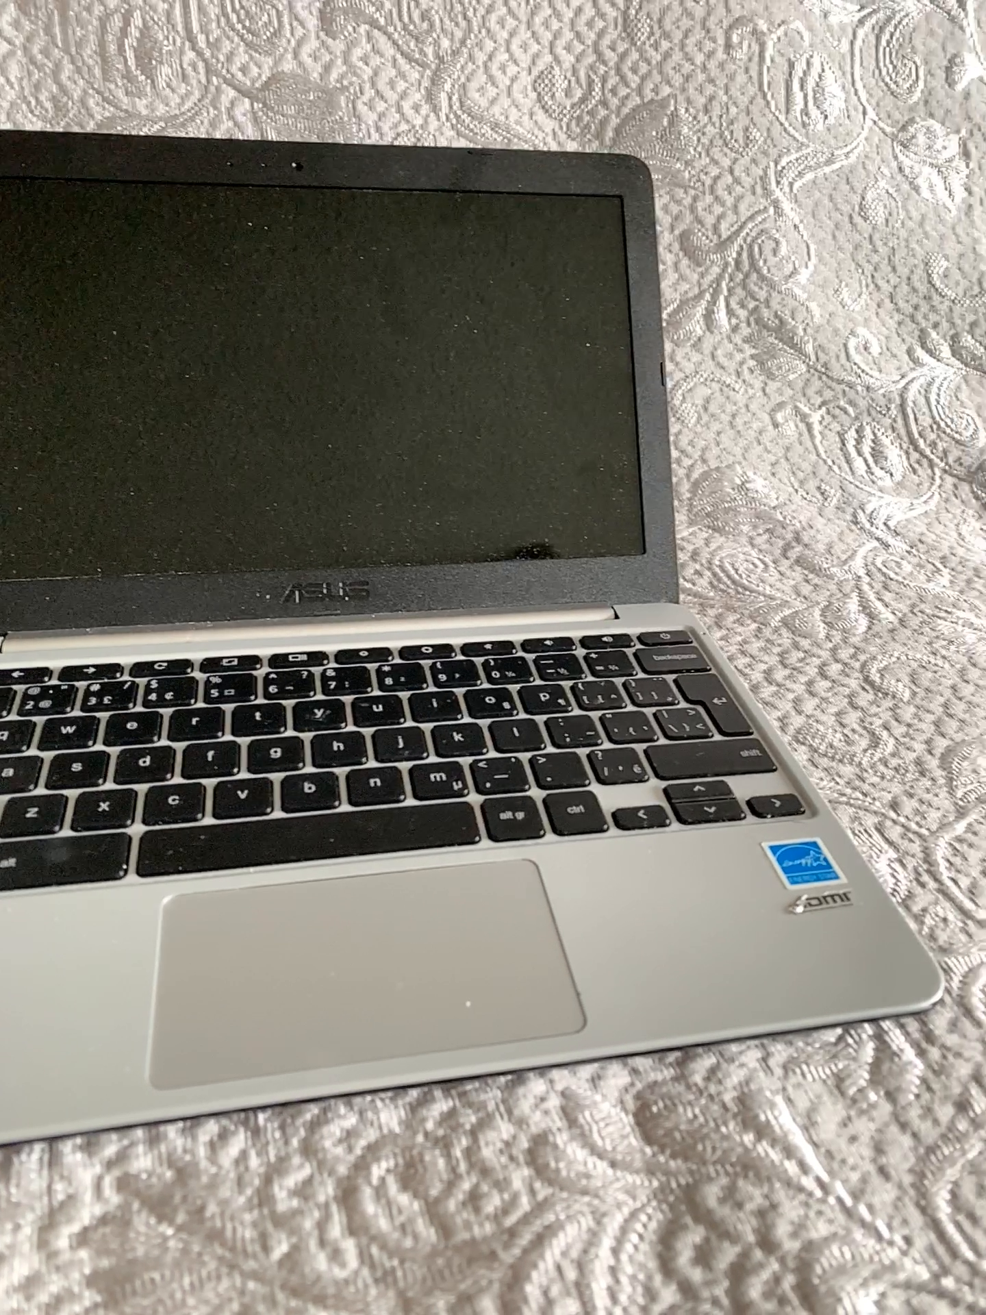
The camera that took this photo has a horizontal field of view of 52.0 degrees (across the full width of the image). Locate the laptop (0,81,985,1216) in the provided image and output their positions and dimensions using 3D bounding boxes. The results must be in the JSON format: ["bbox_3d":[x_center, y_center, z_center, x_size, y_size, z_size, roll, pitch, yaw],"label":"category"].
[{"bbox_3d":[-0.036,-0.047,0.304,0.288,0.127,0.288,-3,40,-19],"label":"laptop"}]
